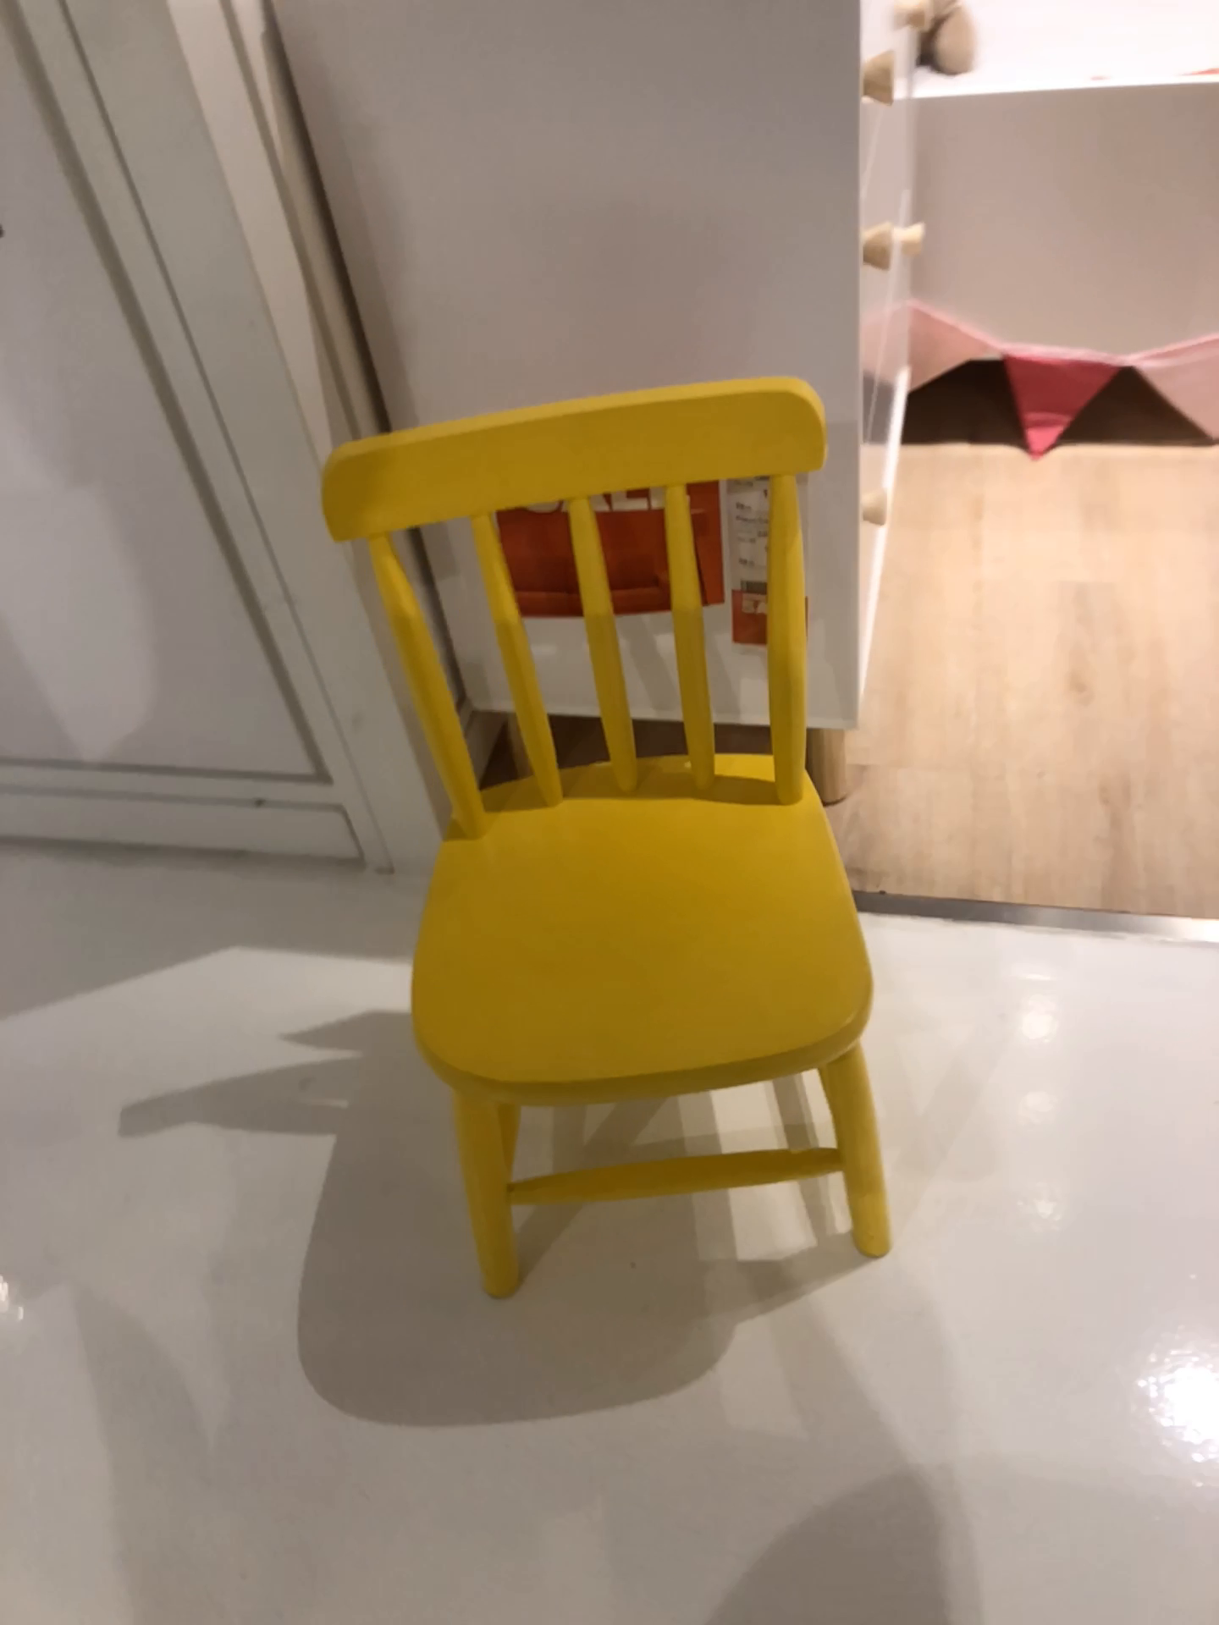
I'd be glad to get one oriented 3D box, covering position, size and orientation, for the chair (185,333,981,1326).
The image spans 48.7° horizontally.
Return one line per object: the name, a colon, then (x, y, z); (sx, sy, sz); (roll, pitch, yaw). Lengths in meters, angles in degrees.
chair: (0.005, 0.043, 0.971); (0.380, 0.576, 0.373); (-9, 46, 1)
